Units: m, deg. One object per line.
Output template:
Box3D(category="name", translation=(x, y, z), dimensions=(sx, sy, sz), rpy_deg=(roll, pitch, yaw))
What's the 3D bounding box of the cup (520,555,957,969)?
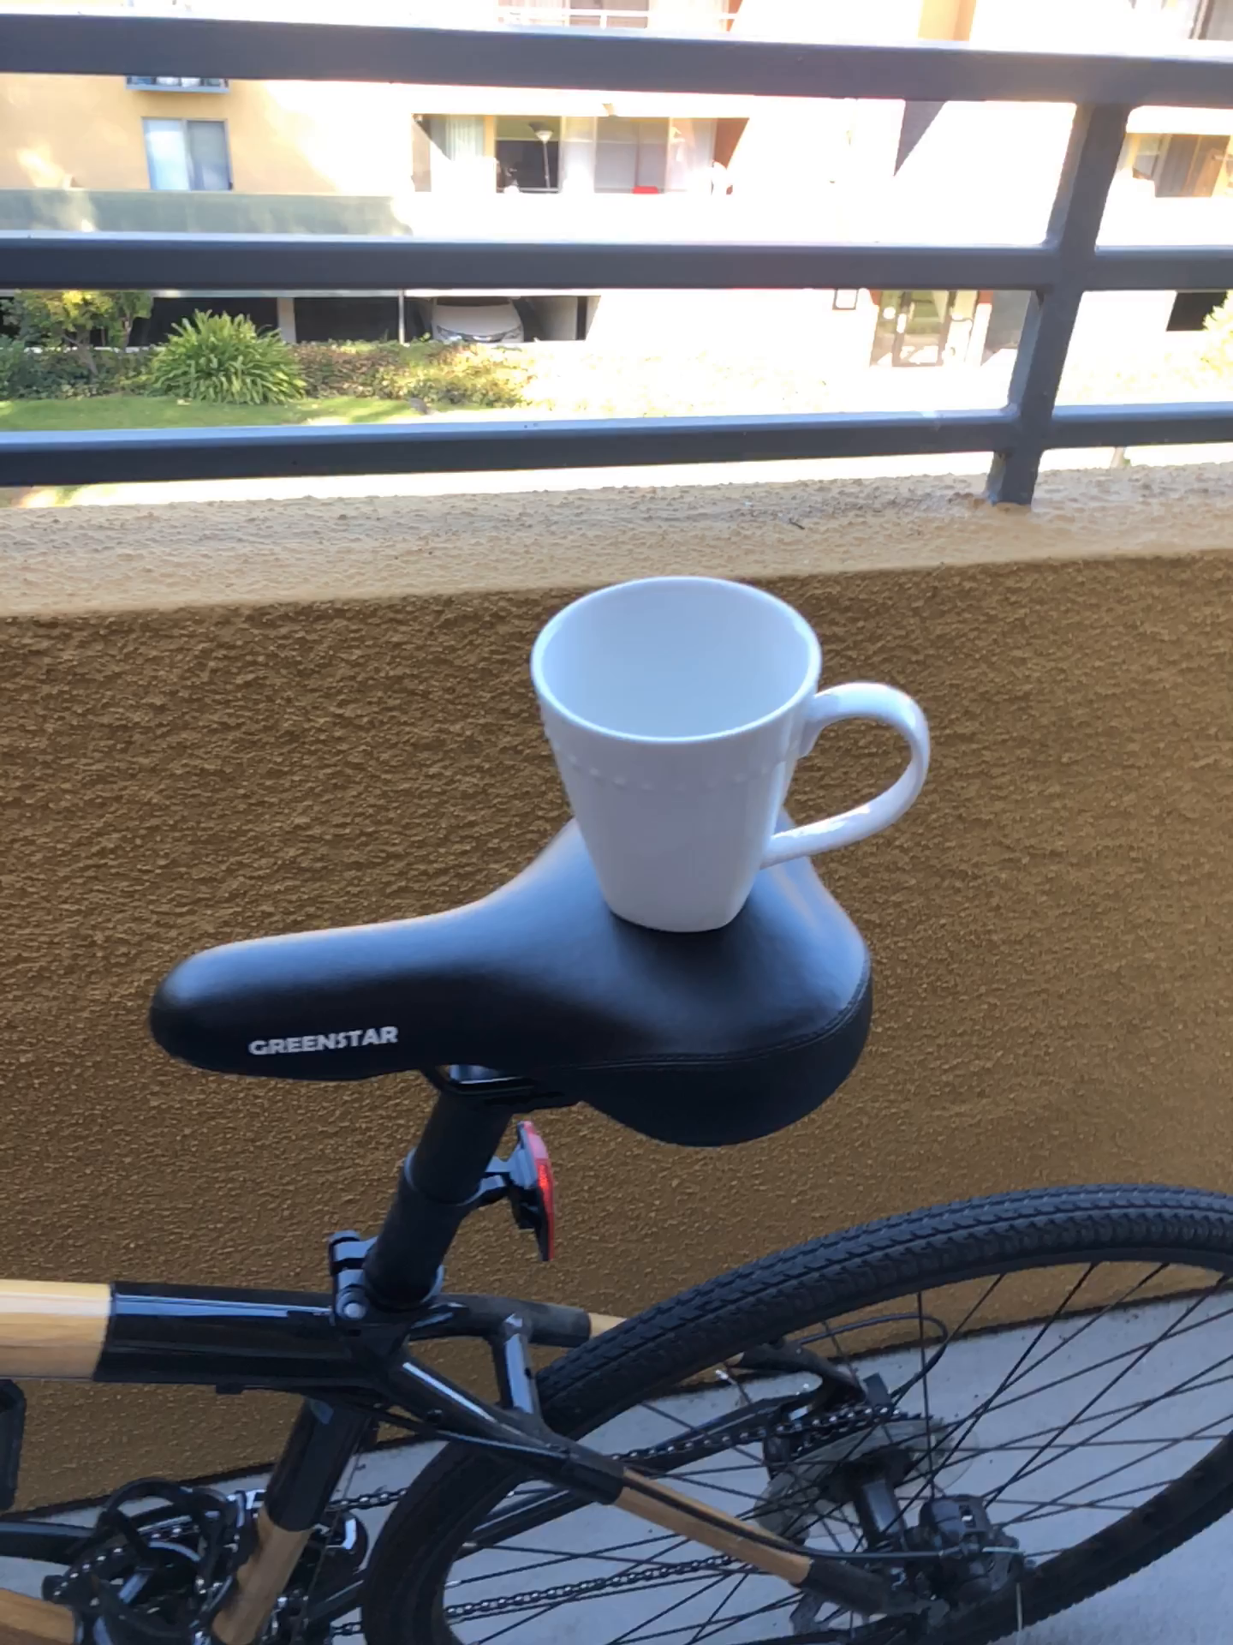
Box3D(category="cup", translation=(0.038, -0.022, 0.477), dimensions=(0.130, 0.100, 0.090), rpy_deg=(5, 37, 1))
